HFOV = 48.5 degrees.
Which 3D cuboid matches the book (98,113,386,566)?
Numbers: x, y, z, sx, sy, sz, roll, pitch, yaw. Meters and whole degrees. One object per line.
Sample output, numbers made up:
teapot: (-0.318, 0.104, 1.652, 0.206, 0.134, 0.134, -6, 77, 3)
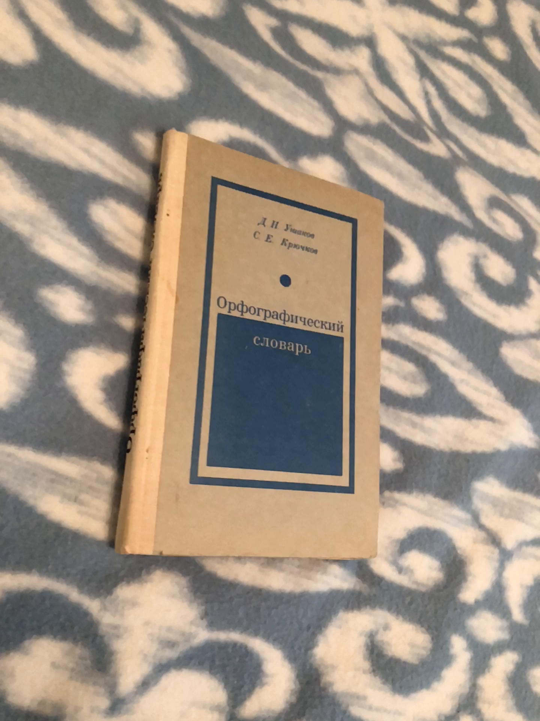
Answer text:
book: (-0.004, -0.007, 0.309, 0.137, 0.022, 0.210, 11, 74, -26)
